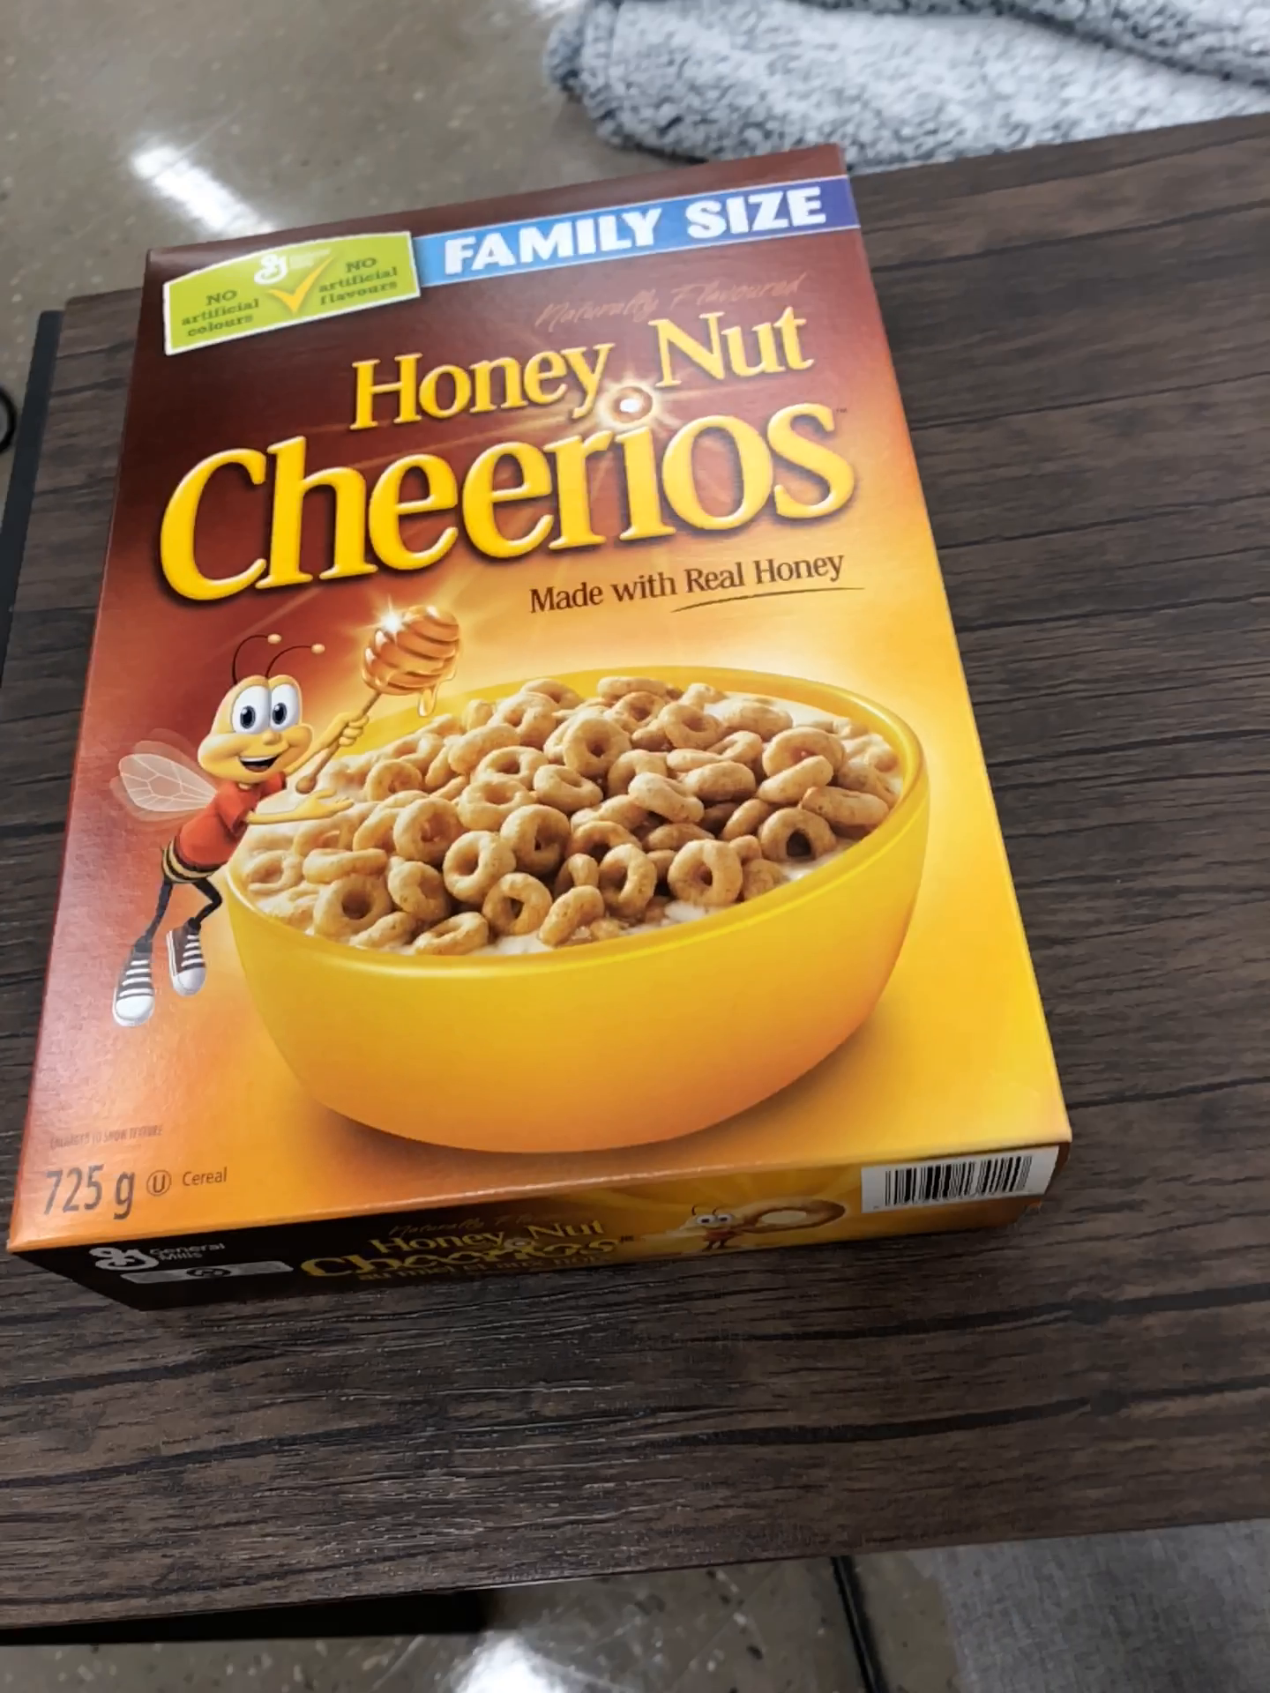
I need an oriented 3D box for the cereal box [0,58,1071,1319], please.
[{"bbox_3d":[-0.040,-0.070,0.437,0.250,0.080,0.380,-8,60,5],"label":"cereal box"}]
